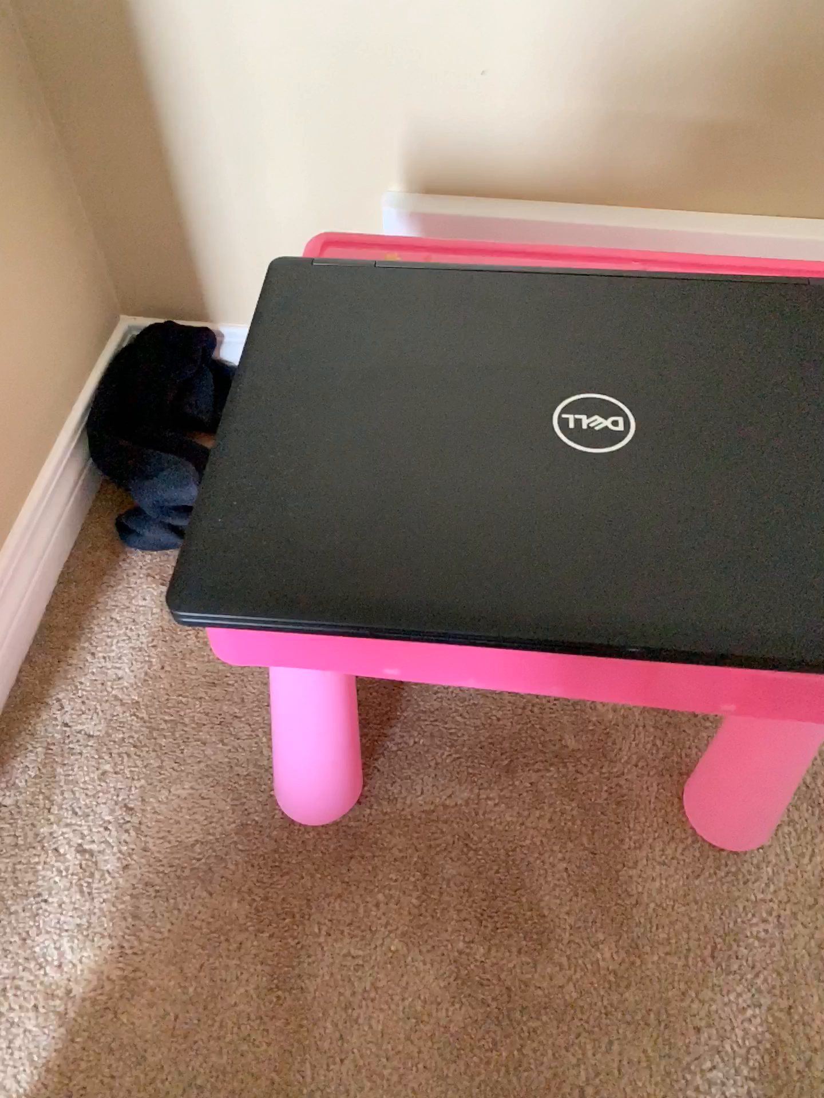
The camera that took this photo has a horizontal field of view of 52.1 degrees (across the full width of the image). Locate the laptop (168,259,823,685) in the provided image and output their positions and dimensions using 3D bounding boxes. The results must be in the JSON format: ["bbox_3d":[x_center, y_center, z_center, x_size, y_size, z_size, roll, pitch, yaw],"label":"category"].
[{"bbox_3d":[0.089,-0.059,0.415,0.366,0.005,0.241,4,55,5],"label":"laptop"}]
